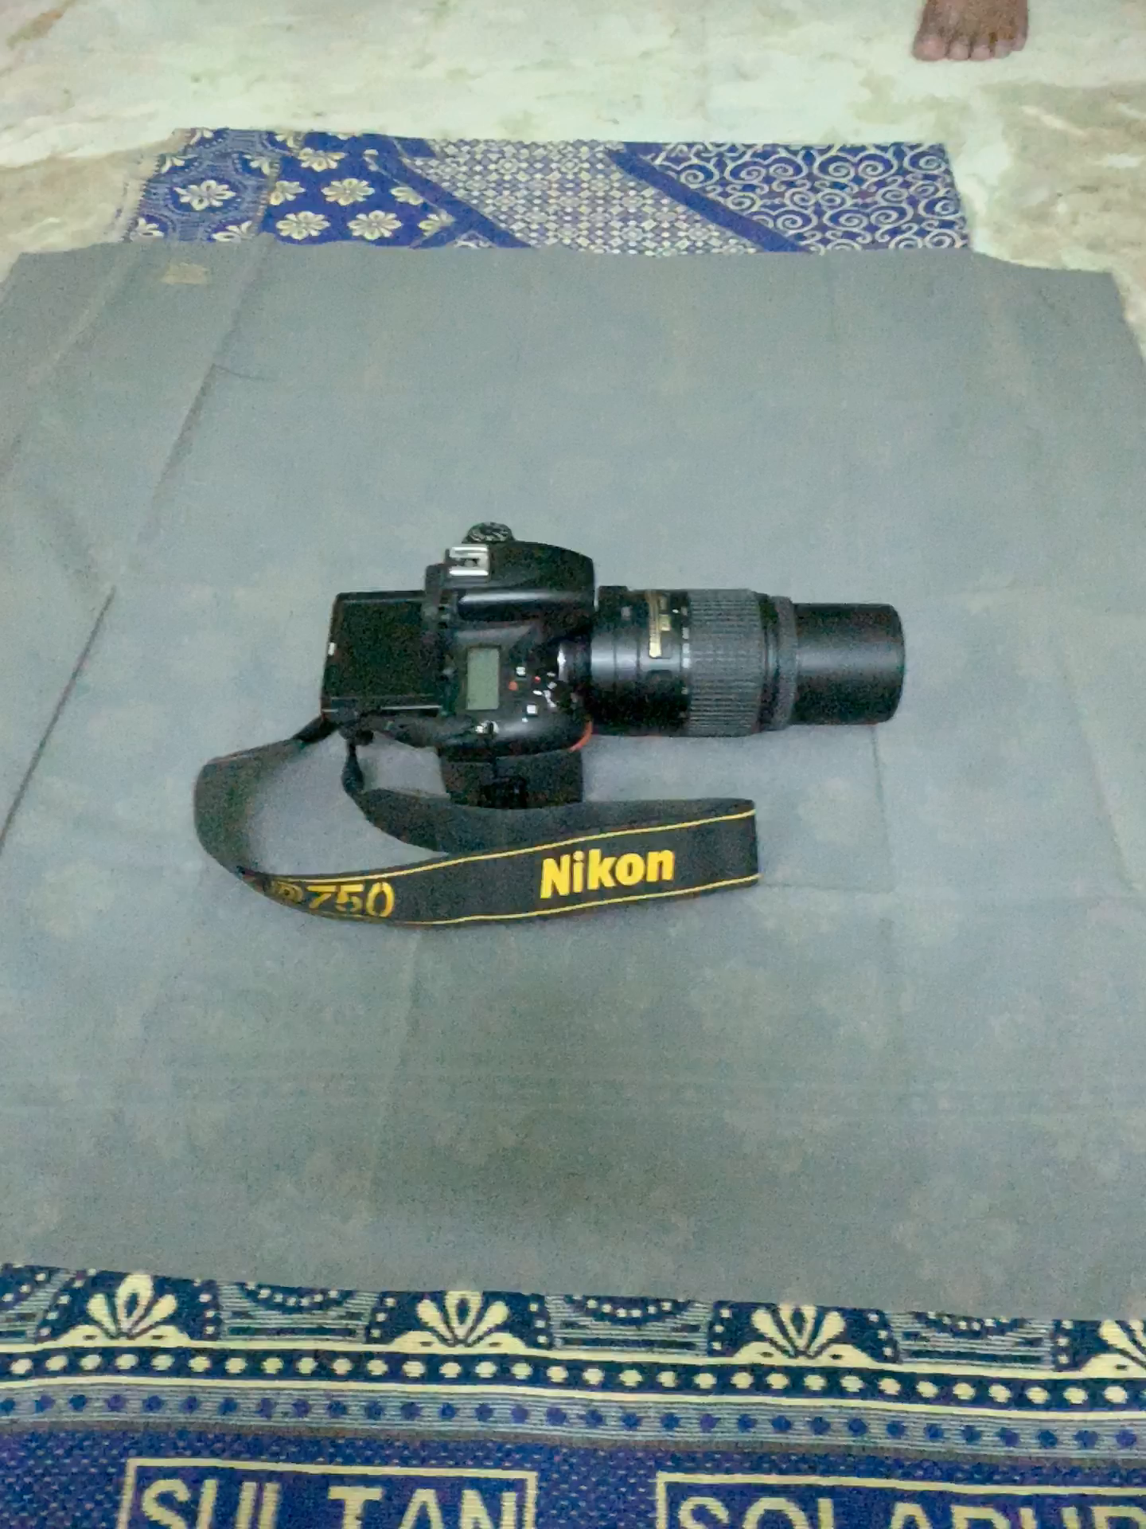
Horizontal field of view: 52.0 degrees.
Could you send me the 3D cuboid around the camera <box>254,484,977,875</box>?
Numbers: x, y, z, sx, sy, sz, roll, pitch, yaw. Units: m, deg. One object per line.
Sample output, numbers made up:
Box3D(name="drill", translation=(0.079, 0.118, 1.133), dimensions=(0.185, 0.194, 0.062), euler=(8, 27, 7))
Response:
Box3D(name="camera", translation=(0.018, -0.040, 0.555), dimensions=(0.288, 0.110, 0.147), euler=(0, 53, 2))
